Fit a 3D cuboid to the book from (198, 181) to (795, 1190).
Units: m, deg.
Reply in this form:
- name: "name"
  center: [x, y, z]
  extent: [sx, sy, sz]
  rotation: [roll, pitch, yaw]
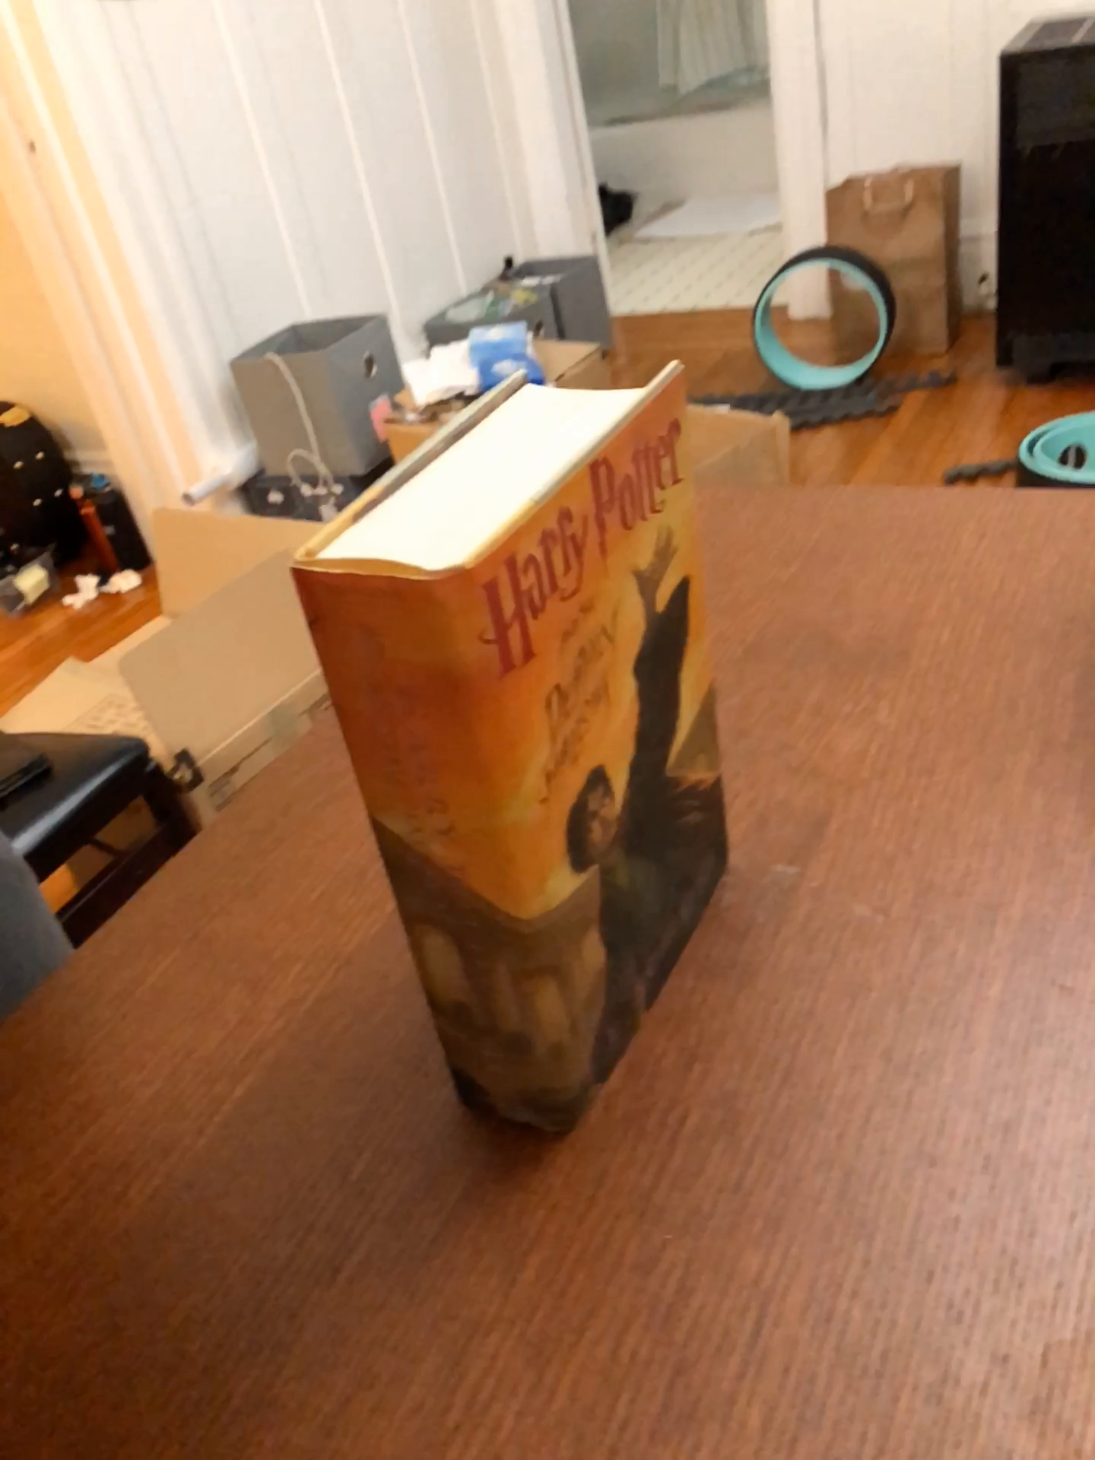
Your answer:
- name: "book"
  center: [0.015, -0.017, 0.450]
  extent: [0.070, 0.298, 0.211]
  rotation: [9, 38, 29]
